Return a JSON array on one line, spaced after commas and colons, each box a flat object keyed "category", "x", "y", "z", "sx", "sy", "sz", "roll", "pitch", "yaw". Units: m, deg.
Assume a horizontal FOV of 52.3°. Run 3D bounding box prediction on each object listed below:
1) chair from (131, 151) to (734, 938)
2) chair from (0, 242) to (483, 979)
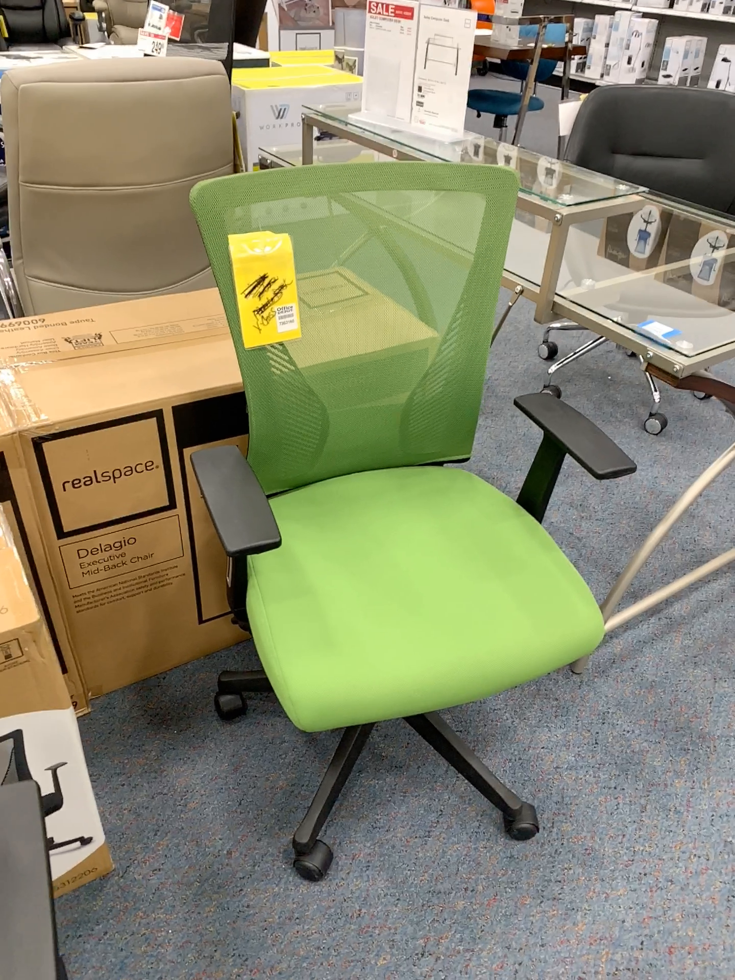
[{"category": "chair", "x": 0.069, "y": 0.056, "z": 1.135, "sx": 0.645, "sy": 0.912, "sz": 0.600, "roll": -10, "pitch": 38, "yaw": -17}, {"category": "chair", "x": -0.424, "y": 0.446, "z": 0.512, "sx": 0.645, "sy": 0.972, "sz": 0.660, "roll": -10, "pitch": 38, "yaw": -17}]
